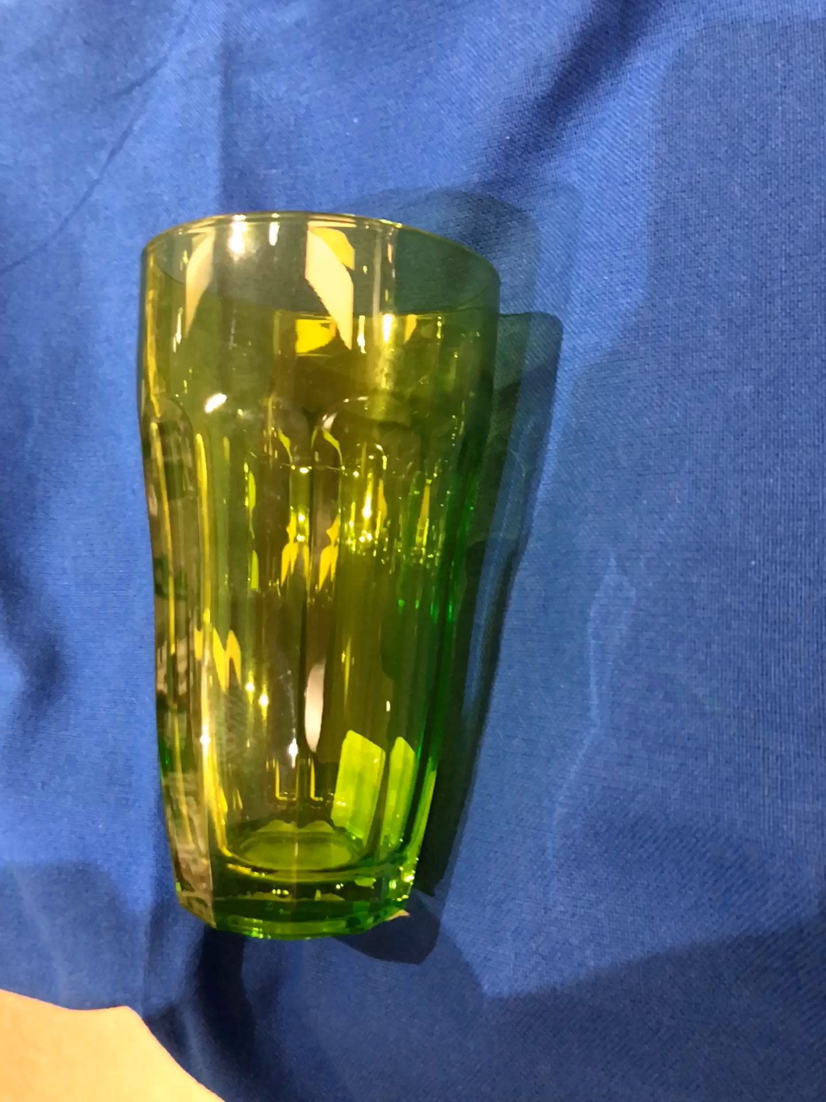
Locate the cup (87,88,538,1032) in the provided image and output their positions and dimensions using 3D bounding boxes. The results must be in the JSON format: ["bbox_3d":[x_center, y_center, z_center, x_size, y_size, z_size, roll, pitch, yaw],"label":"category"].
[{"bbox_3d":[-0.017,0.001,0.203,0.070,0.070,0.160,0,88,25],"label":"cup"}]
